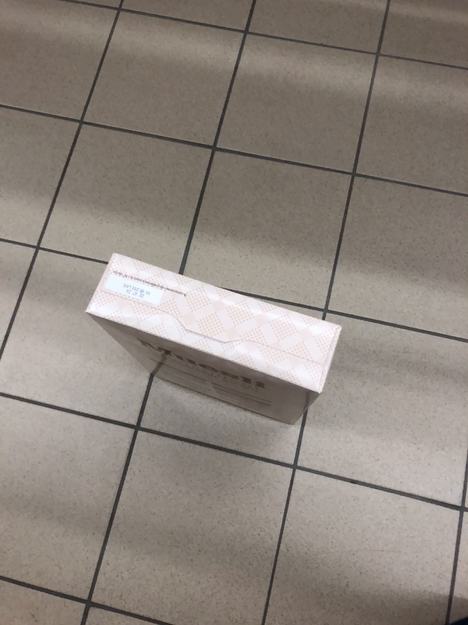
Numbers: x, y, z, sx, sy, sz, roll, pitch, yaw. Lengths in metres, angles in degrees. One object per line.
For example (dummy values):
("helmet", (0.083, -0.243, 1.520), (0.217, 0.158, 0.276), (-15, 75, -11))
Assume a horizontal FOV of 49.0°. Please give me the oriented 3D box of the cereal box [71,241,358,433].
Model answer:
("cereal box", (-0.012, 0.044, 0.501), (0.200, 0.270, 0.060), (18, 74, 7))
